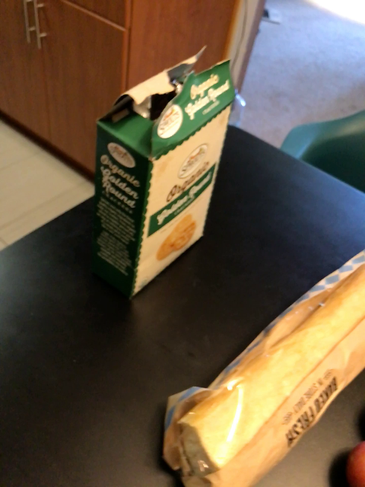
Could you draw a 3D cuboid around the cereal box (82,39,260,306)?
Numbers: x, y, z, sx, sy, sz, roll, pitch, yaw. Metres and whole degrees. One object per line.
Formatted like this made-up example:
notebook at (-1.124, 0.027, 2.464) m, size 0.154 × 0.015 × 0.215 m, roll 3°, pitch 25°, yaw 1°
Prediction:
cereal box at (-0.022, -0.074, 0.465) m, size 0.080 × 0.248 × 0.171 m, roll 33°, pitch 49°, yaw 18°
